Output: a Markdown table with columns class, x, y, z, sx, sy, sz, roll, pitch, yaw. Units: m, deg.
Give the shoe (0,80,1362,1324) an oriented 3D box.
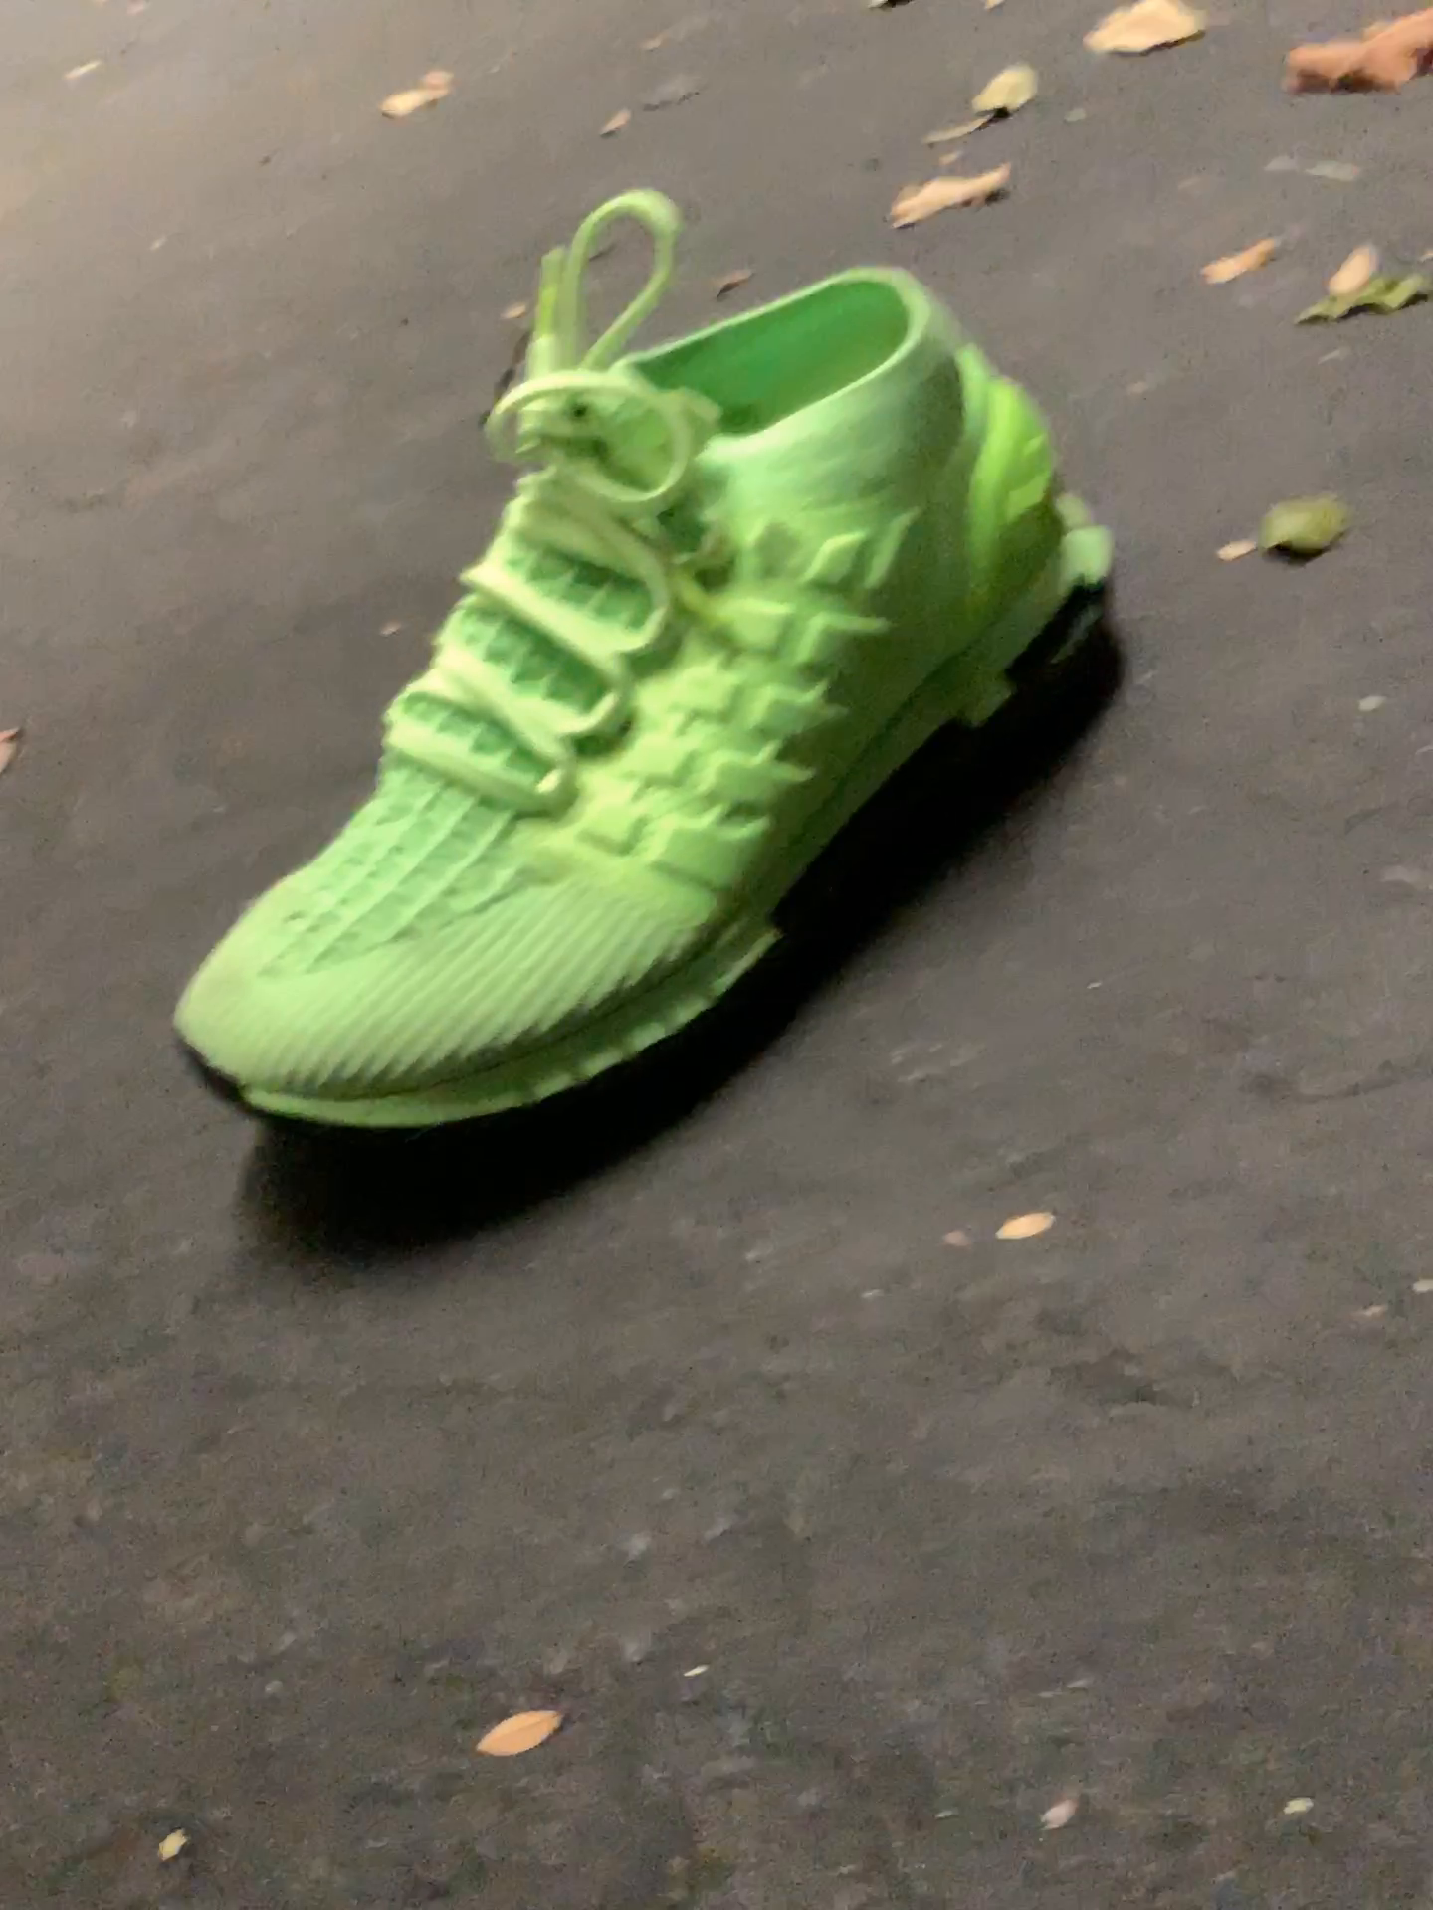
| class | x | y | z | sx | sy | sz | roll | pitch | yaw |
| --- | --- | --- | --- | --- | --- | --- | --- | --- | --- |
| shoe | -0.008 | -0.076 | 0.418 | 0.320 | 0.150 | 0.130 | -31 | 49 | -14 |
